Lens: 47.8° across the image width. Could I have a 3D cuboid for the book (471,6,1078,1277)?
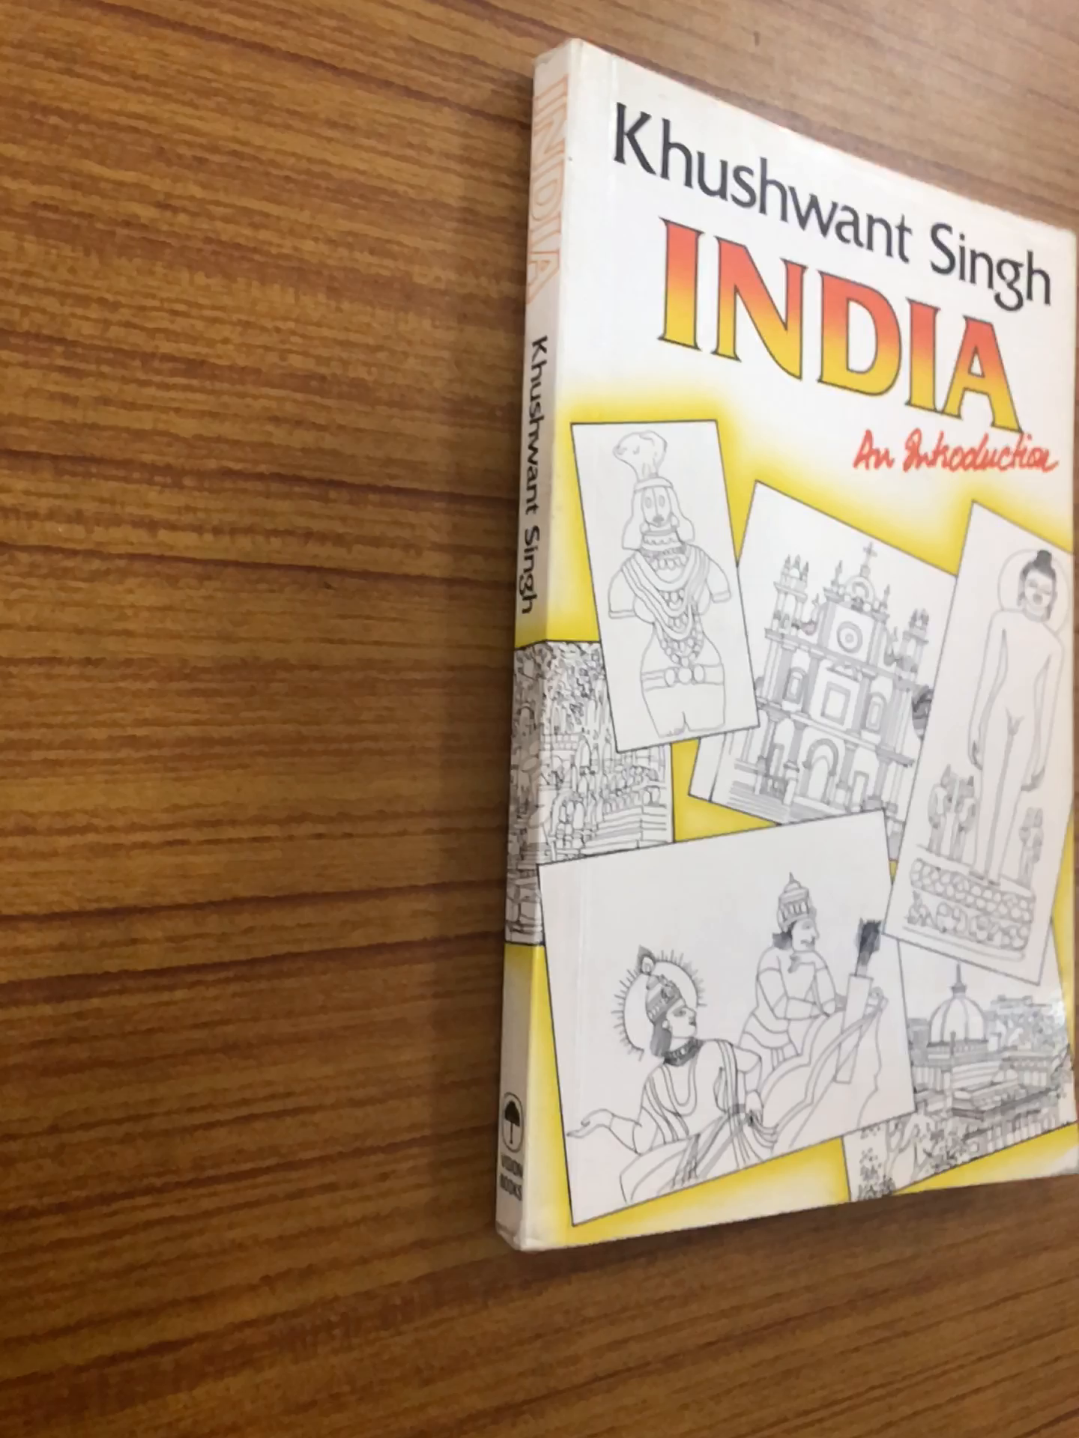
[{"bbox_3d":[0.059,-0.010,0.224,0.141,0.020,0.190,5,85,-29],"label":"book"}]
